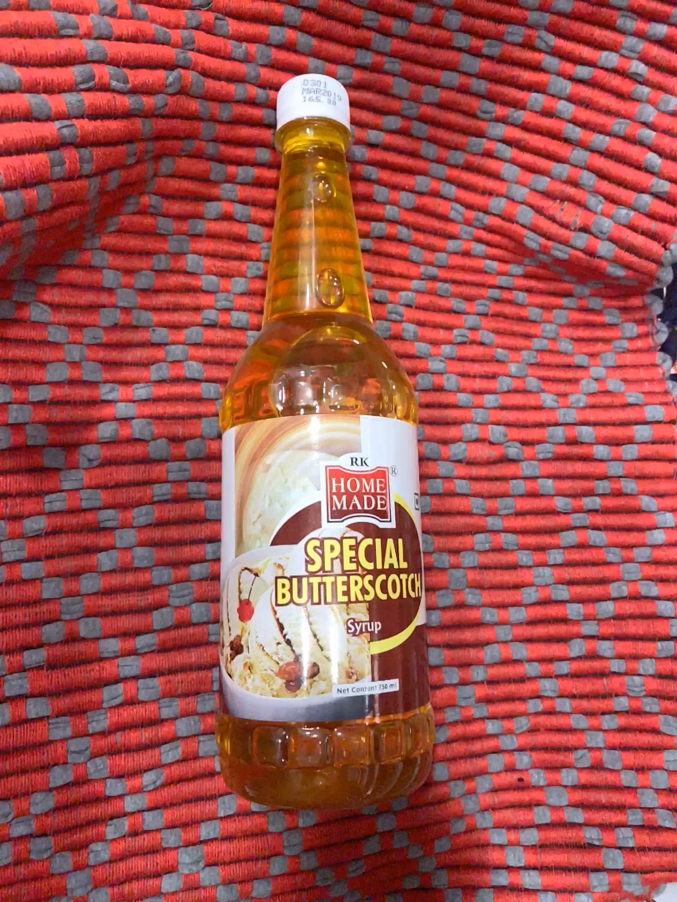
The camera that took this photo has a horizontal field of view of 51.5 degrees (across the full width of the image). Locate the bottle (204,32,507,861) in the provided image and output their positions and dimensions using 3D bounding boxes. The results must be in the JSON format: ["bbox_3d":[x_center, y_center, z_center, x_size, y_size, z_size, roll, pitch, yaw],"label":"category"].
[{"bbox_3d":[-0.005,-0.012,0.251,0.080,0.060,0.260,1,75,-15],"label":"bottle"}]
